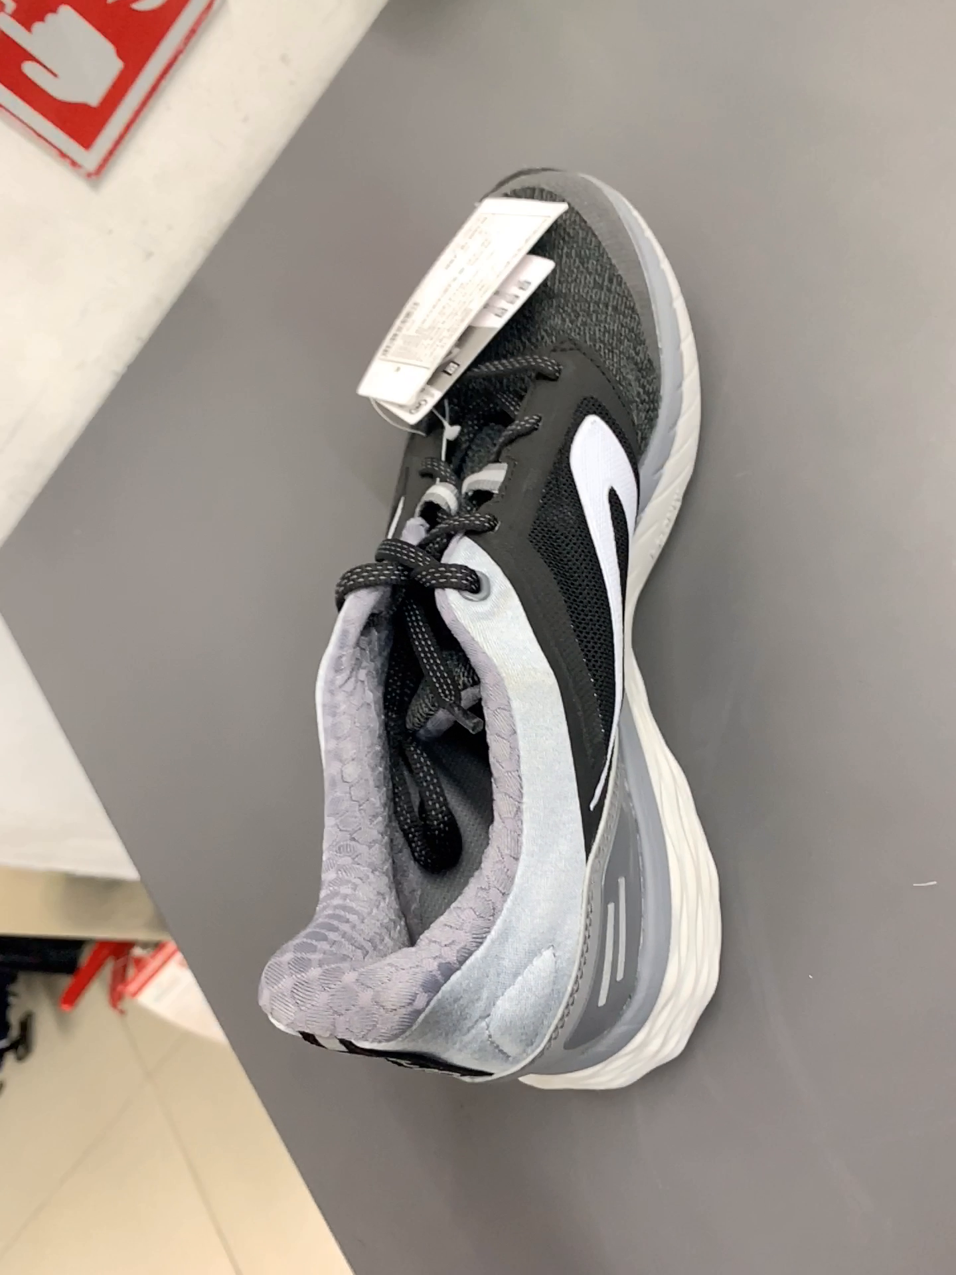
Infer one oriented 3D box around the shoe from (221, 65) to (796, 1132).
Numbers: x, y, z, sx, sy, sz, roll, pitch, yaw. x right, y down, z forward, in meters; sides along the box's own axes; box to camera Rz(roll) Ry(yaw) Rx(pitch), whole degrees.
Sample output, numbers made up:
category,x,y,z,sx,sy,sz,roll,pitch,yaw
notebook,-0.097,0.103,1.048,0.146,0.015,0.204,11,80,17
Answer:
category,x,y,z,sx,sy,sz,roll,pitch,yaw
shoe,0.007,-0.008,0.268,0.100,0.090,0.240,-13,67,29
